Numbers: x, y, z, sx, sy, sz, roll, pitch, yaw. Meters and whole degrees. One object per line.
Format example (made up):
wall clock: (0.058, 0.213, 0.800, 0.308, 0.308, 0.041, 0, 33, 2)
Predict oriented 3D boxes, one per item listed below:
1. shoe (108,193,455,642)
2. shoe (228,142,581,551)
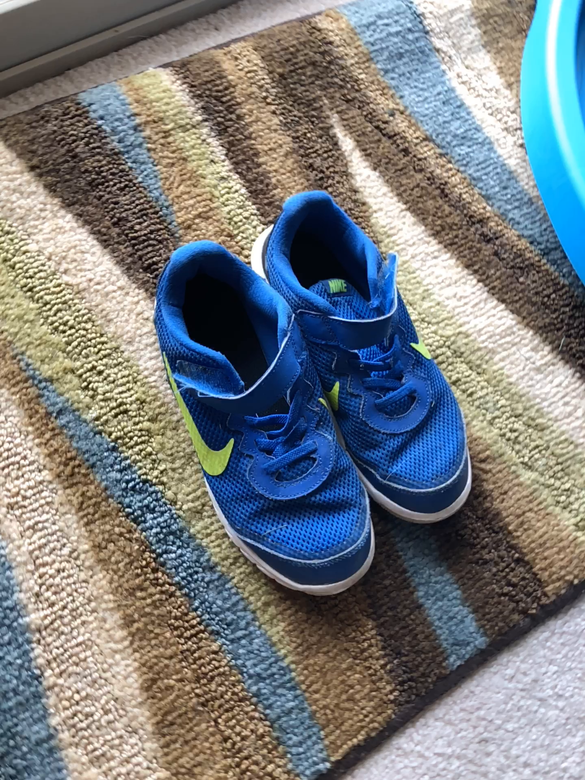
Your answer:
shoe: (-0.015, 0.013, 0.388, 0.102, 0.075, 0.233, -23, 78, -16)
shoe: (0.060, -0.029, 0.414, 0.103, 0.075, 0.230, -26, 79, -17)
